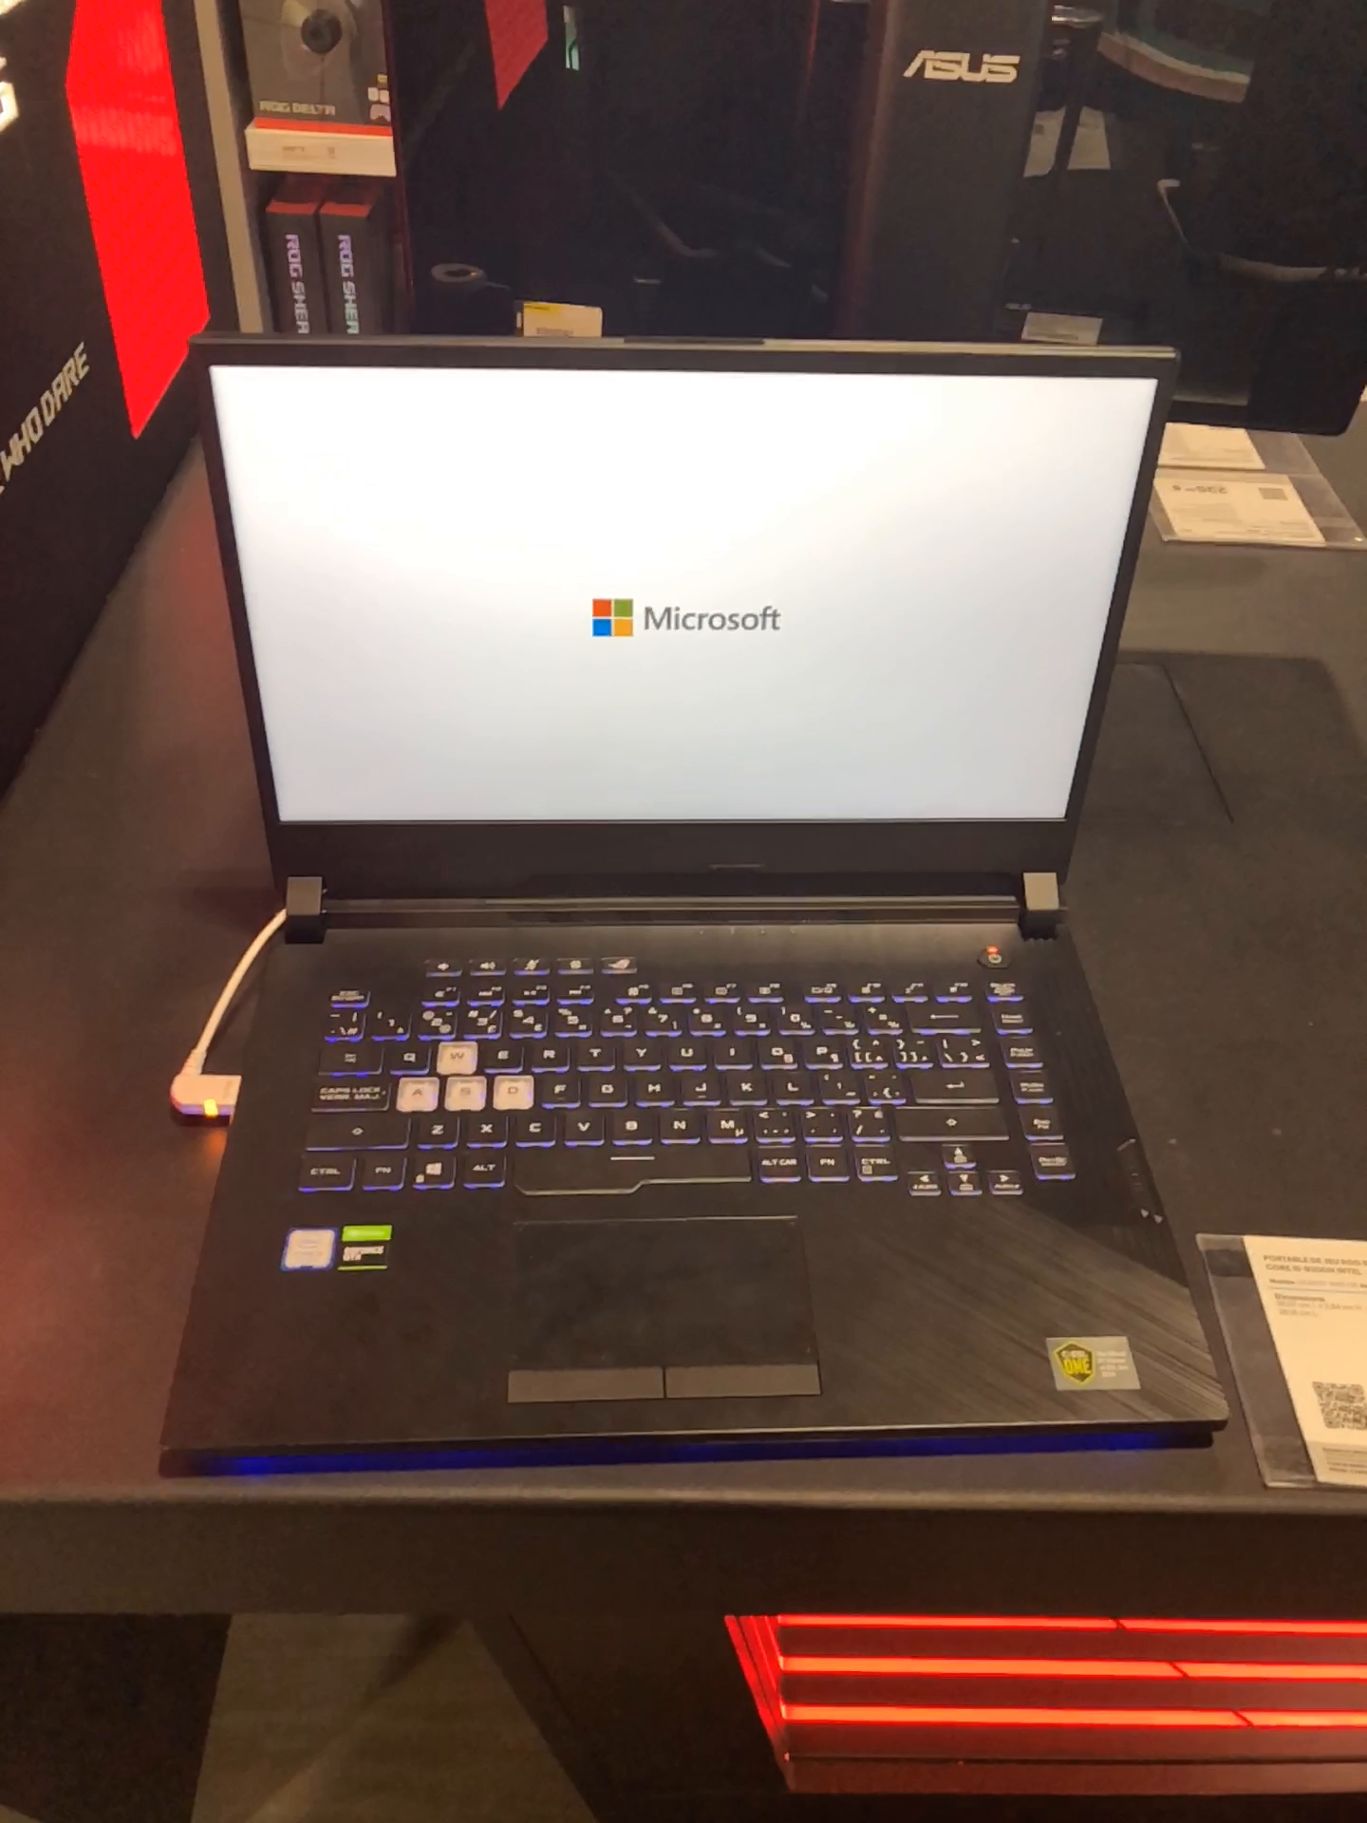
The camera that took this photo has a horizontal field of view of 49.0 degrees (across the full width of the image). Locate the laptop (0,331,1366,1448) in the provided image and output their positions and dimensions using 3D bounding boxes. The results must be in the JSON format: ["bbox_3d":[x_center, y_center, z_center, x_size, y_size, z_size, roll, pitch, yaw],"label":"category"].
[{"bbox_3d":[0.007,-0.011,0.528,0.360,0.268,0.276,0,43,-4],"label":"laptop"}]
